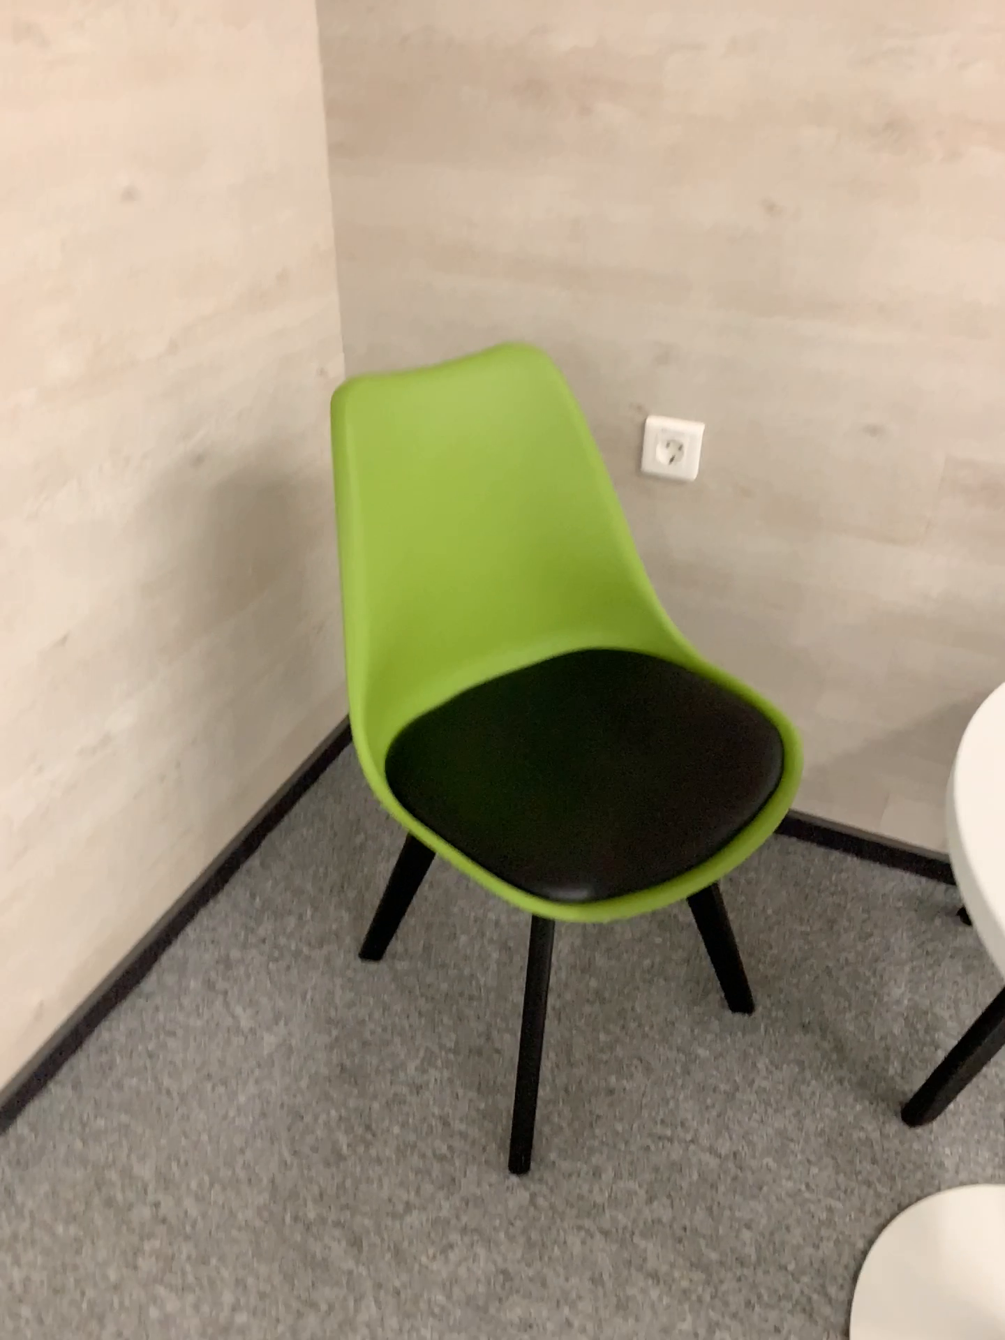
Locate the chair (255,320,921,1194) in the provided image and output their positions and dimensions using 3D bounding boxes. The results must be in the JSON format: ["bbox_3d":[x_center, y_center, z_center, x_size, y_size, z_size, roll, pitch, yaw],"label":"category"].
[{"bbox_3d":[0.071,0.094,1.296,0.491,0.865,0.482,-22,40,-29],"label":"chair"}]
